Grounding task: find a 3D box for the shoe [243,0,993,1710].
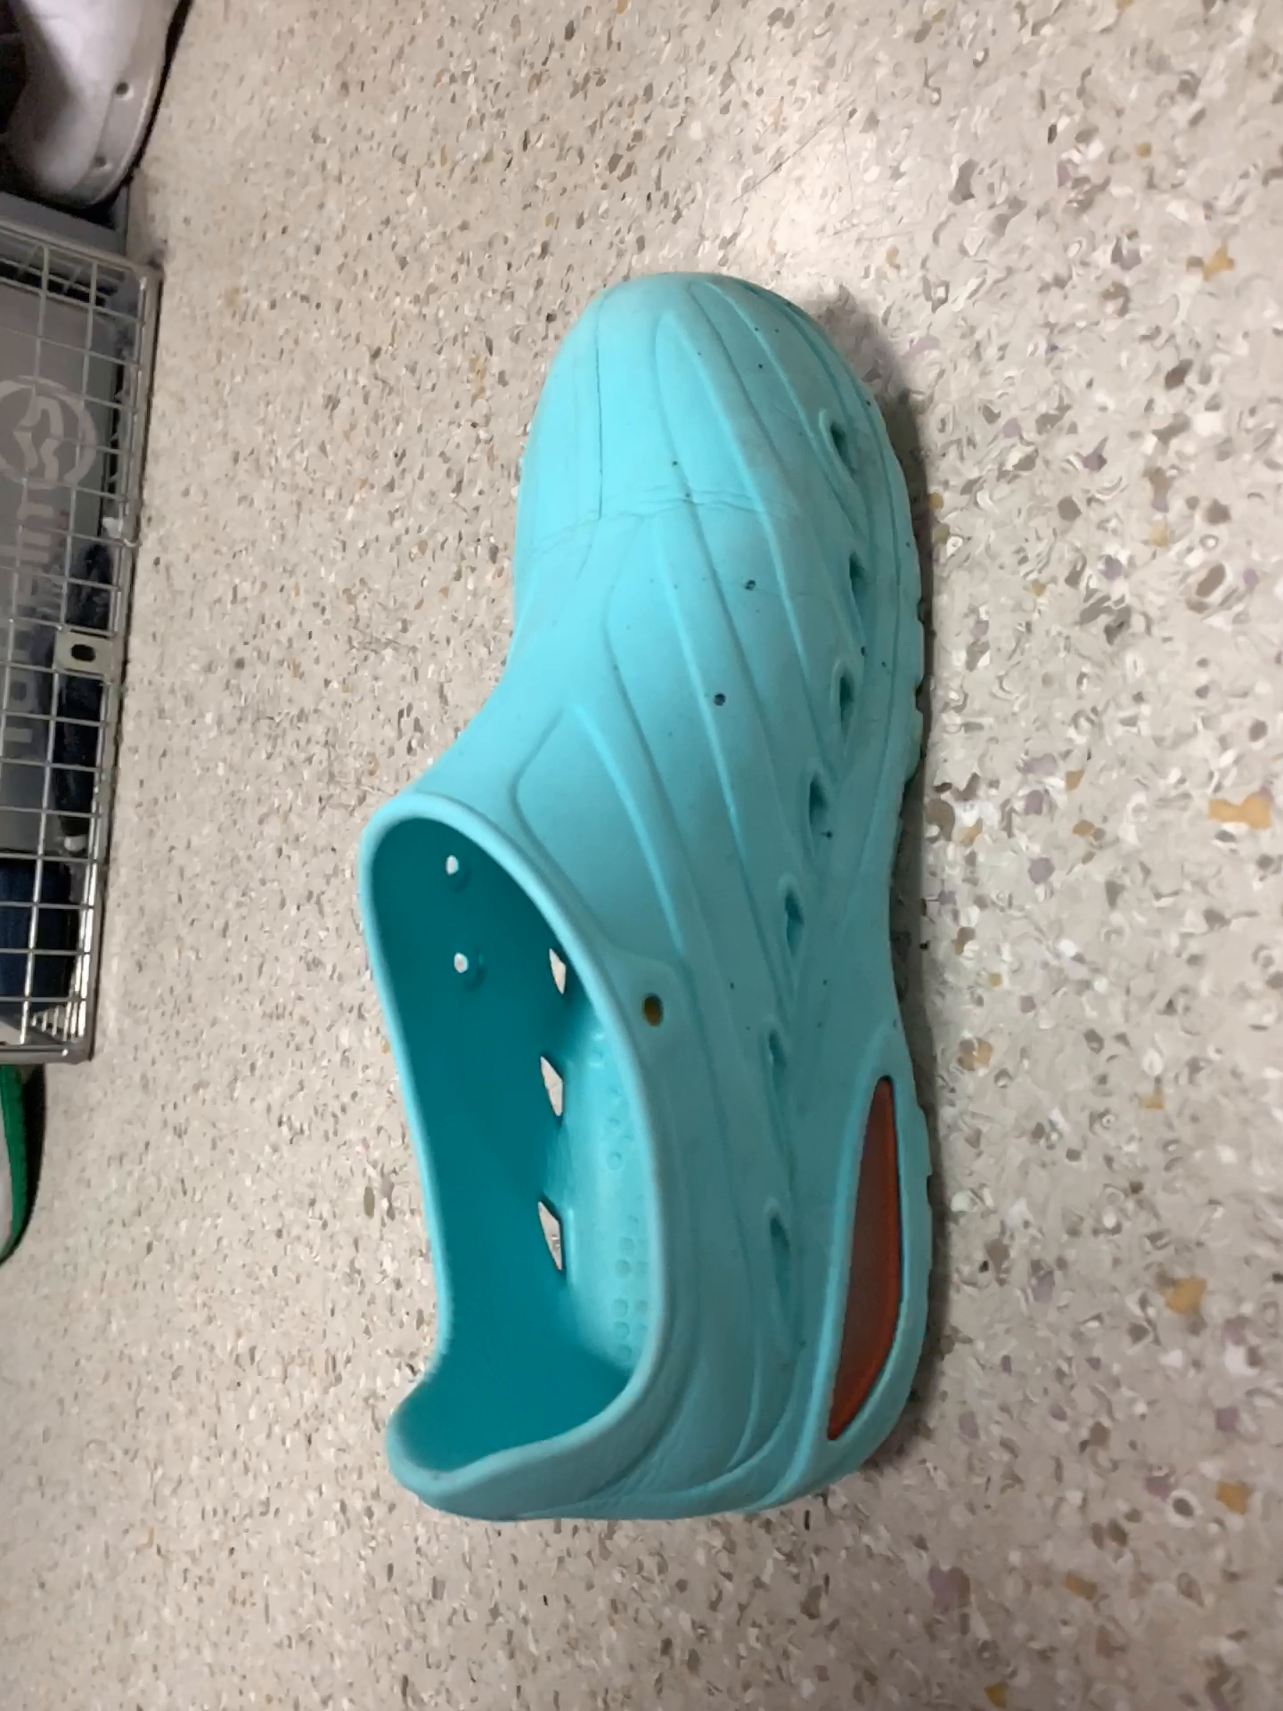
[{"bbox_3d":[-0.006,-0.002,0.277,0.106,0.105,0.275,-9,78,52],"label":"shoe"}]
